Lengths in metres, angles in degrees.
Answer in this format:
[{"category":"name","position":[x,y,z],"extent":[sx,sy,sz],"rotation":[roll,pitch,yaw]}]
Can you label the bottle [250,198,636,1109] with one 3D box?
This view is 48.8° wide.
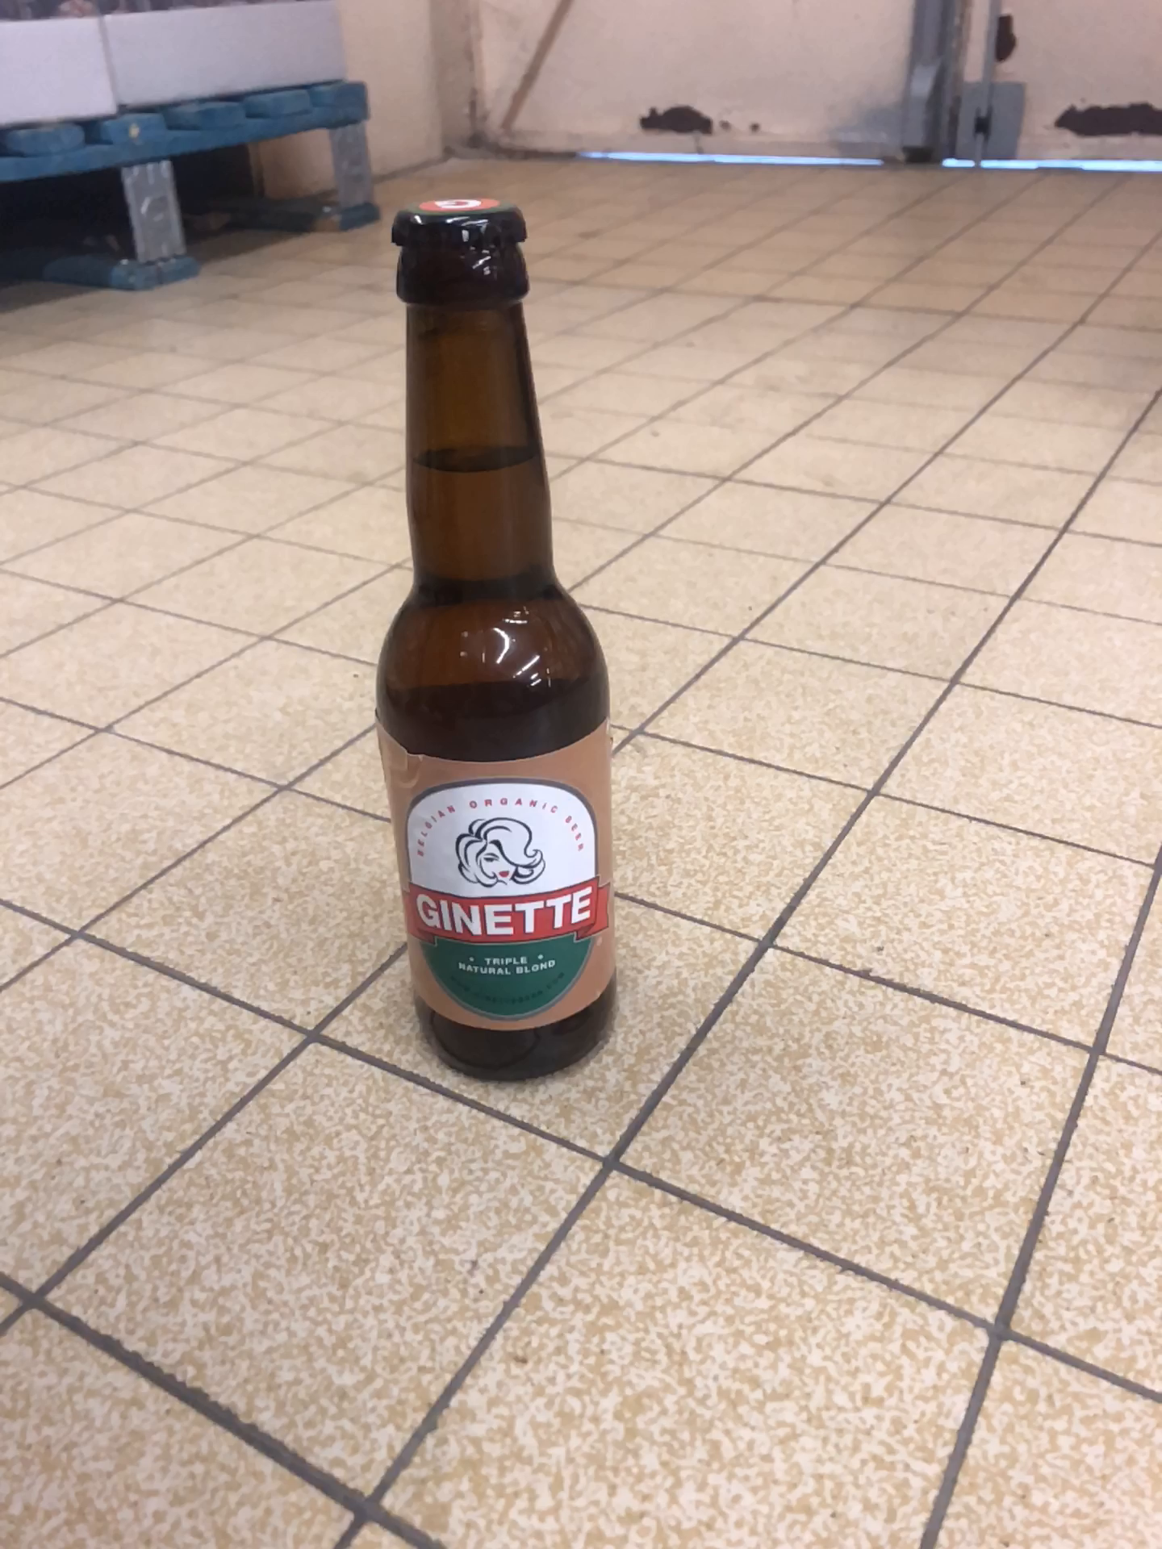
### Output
[{"category":"bottle","position":[-0.023,-0.021,0.324],"extent":[0.070,0.219,0.070],"rotation":[-2,30,1]}]
